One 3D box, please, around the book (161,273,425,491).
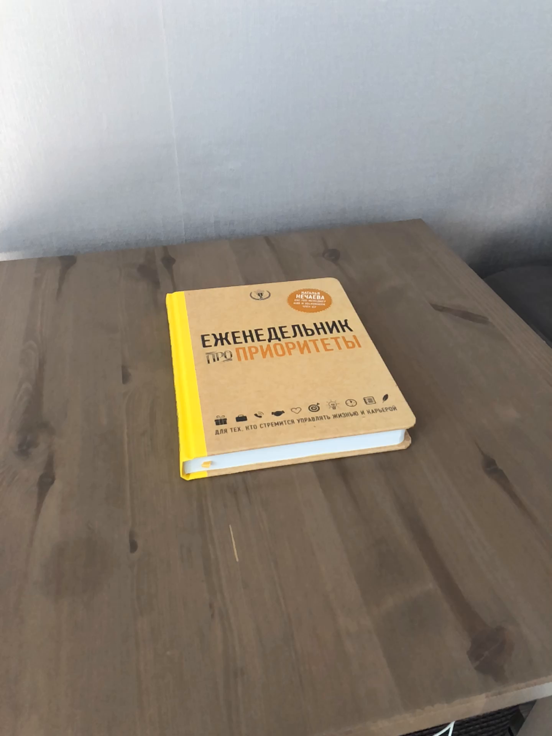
[{"bbox_3d":[-0.001,-0.005,0.533,0.180,0.032,0.230,-7,39,-9],"label":"book"}]
